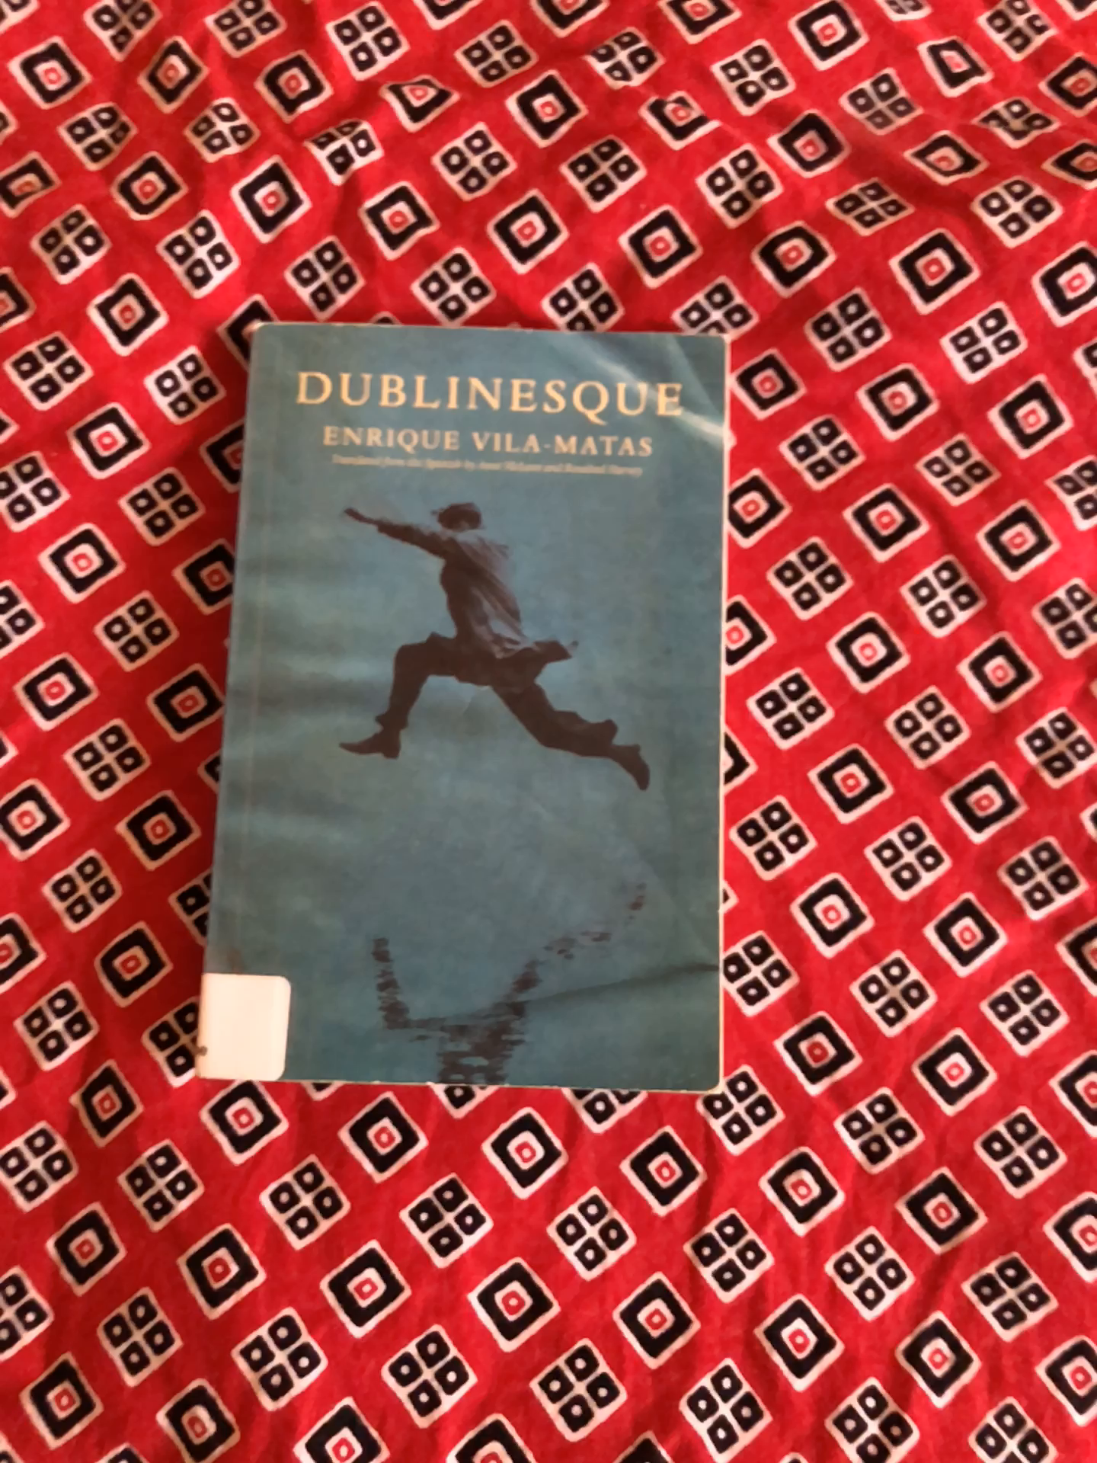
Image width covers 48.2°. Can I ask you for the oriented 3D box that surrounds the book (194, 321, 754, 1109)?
[{"bbox_3d":[-0.017,-0.007,0.330,0.137,0.020,0.203,2,83,0],"label":"book"}]
